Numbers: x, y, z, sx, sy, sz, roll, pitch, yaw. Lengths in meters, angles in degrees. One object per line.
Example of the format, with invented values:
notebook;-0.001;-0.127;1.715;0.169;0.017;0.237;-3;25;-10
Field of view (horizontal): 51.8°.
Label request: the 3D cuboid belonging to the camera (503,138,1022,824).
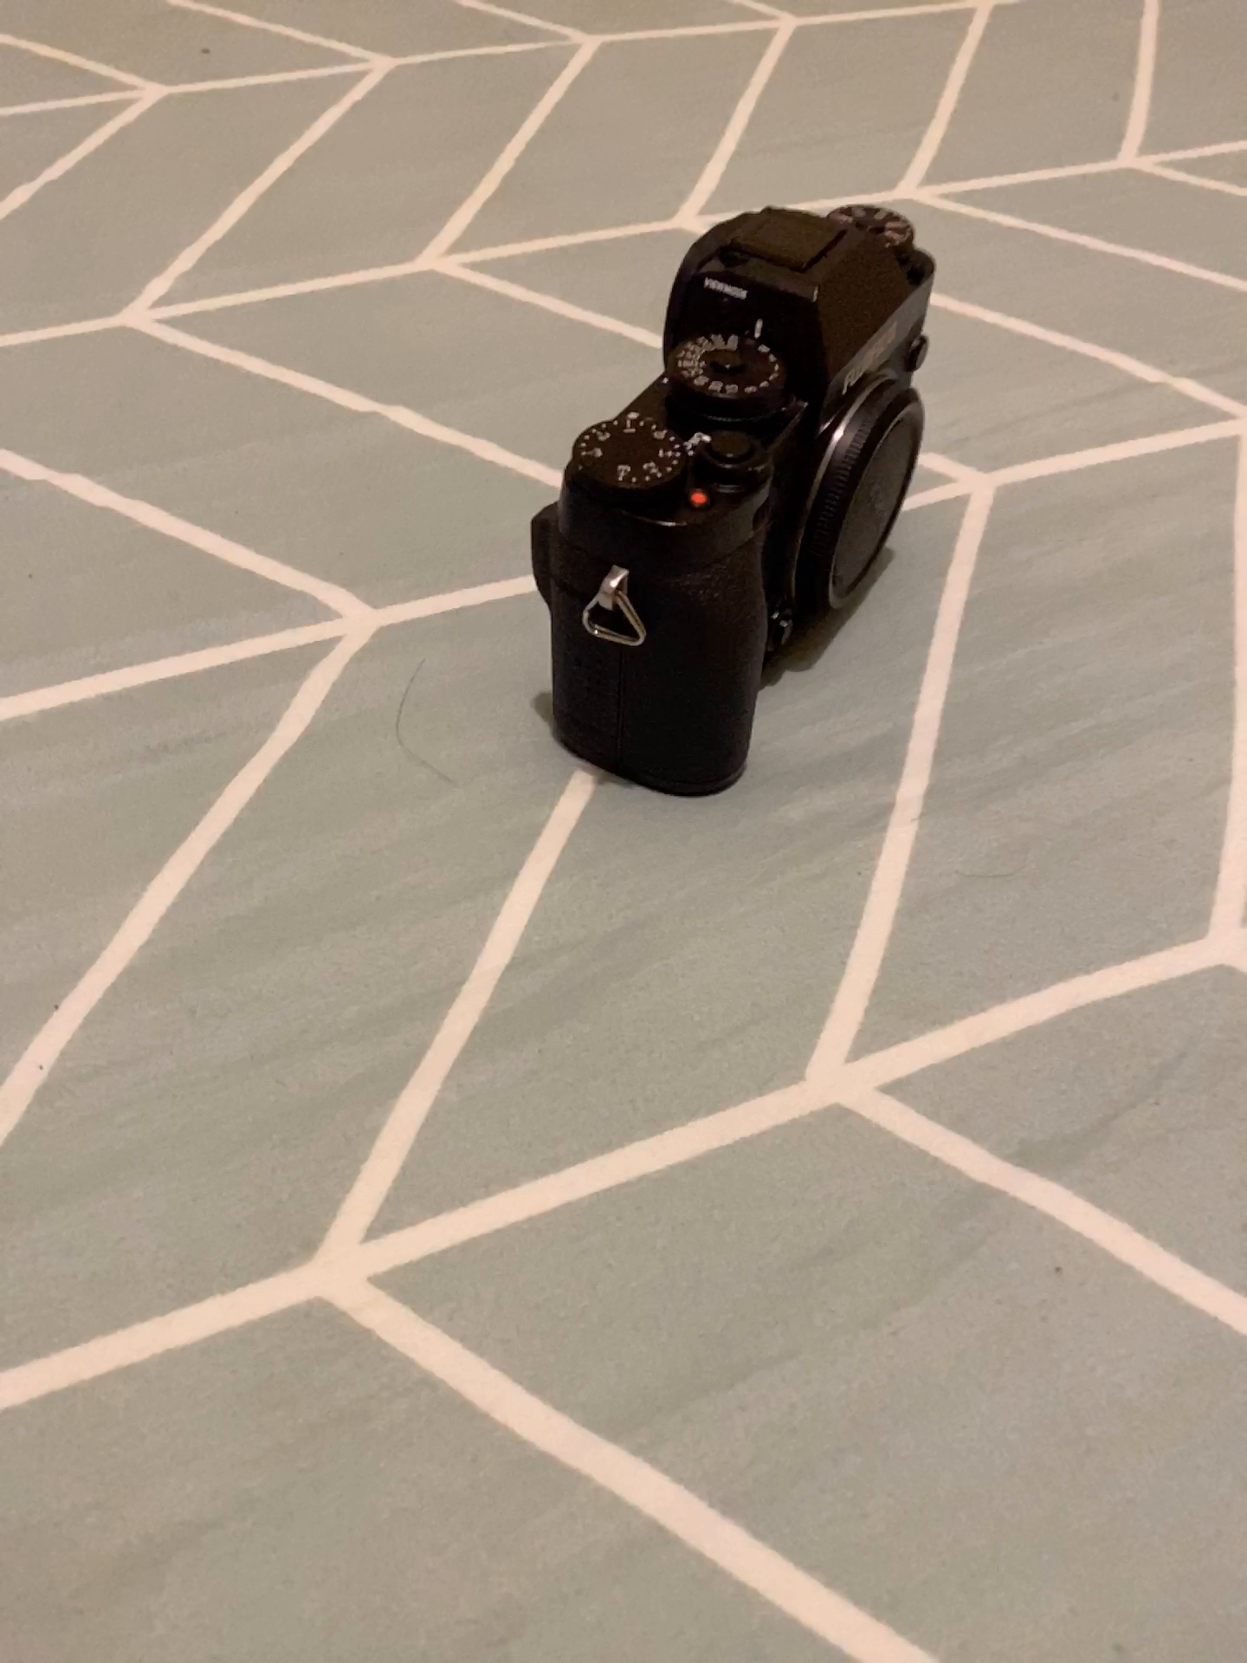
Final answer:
camera;0.032;-0.082;0.292;0.051;0.087;0.131;26;54;17
